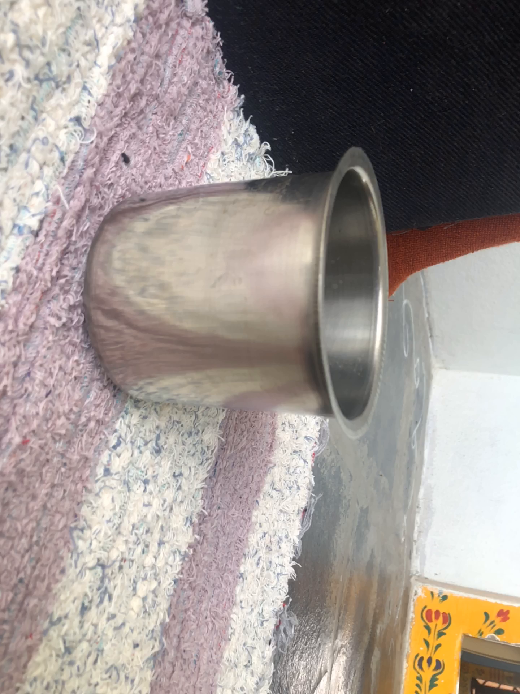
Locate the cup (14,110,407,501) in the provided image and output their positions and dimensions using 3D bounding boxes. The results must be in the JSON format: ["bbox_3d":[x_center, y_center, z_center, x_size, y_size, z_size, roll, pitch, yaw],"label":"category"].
[{"bbox_3d":[-0.003,-0.015,0.226,0.101,0.099,0.100,3,90,-69],"label":"cup"}]
